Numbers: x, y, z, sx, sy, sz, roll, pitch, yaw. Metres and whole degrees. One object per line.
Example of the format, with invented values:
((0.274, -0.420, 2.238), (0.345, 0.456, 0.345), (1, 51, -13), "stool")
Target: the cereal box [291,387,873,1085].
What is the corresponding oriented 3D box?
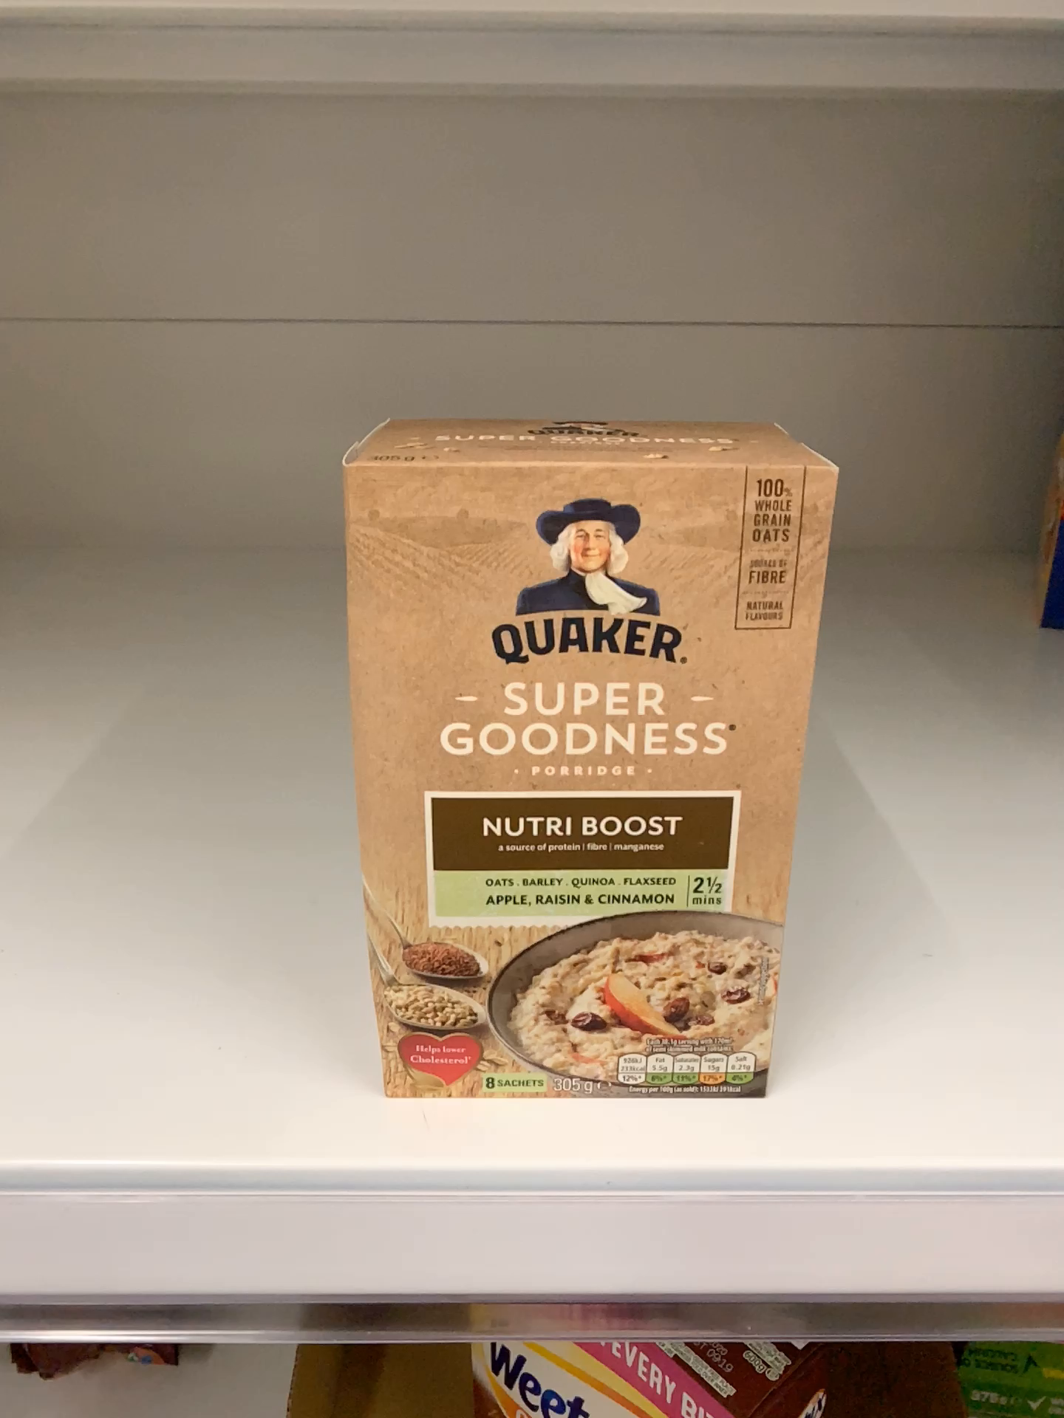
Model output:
((0.011, 0.010, 0.334), (0.140, 0.198, 0.071), (0, 22, 0), "cereal box")
